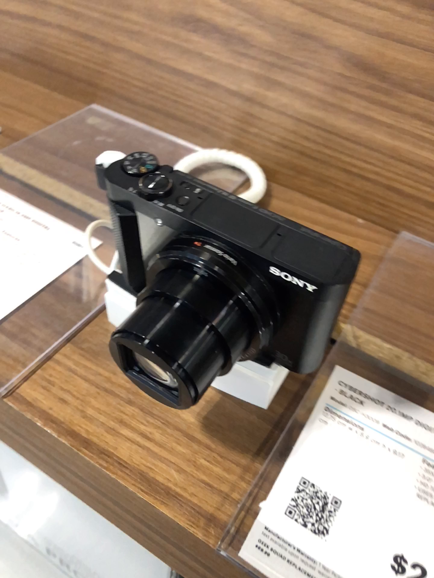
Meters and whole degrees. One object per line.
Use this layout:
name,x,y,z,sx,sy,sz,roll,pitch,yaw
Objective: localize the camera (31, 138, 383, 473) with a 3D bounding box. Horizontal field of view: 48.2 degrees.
camera,-0.006,0.002,0.184,0.100,0.070,0.060,27,46,19
